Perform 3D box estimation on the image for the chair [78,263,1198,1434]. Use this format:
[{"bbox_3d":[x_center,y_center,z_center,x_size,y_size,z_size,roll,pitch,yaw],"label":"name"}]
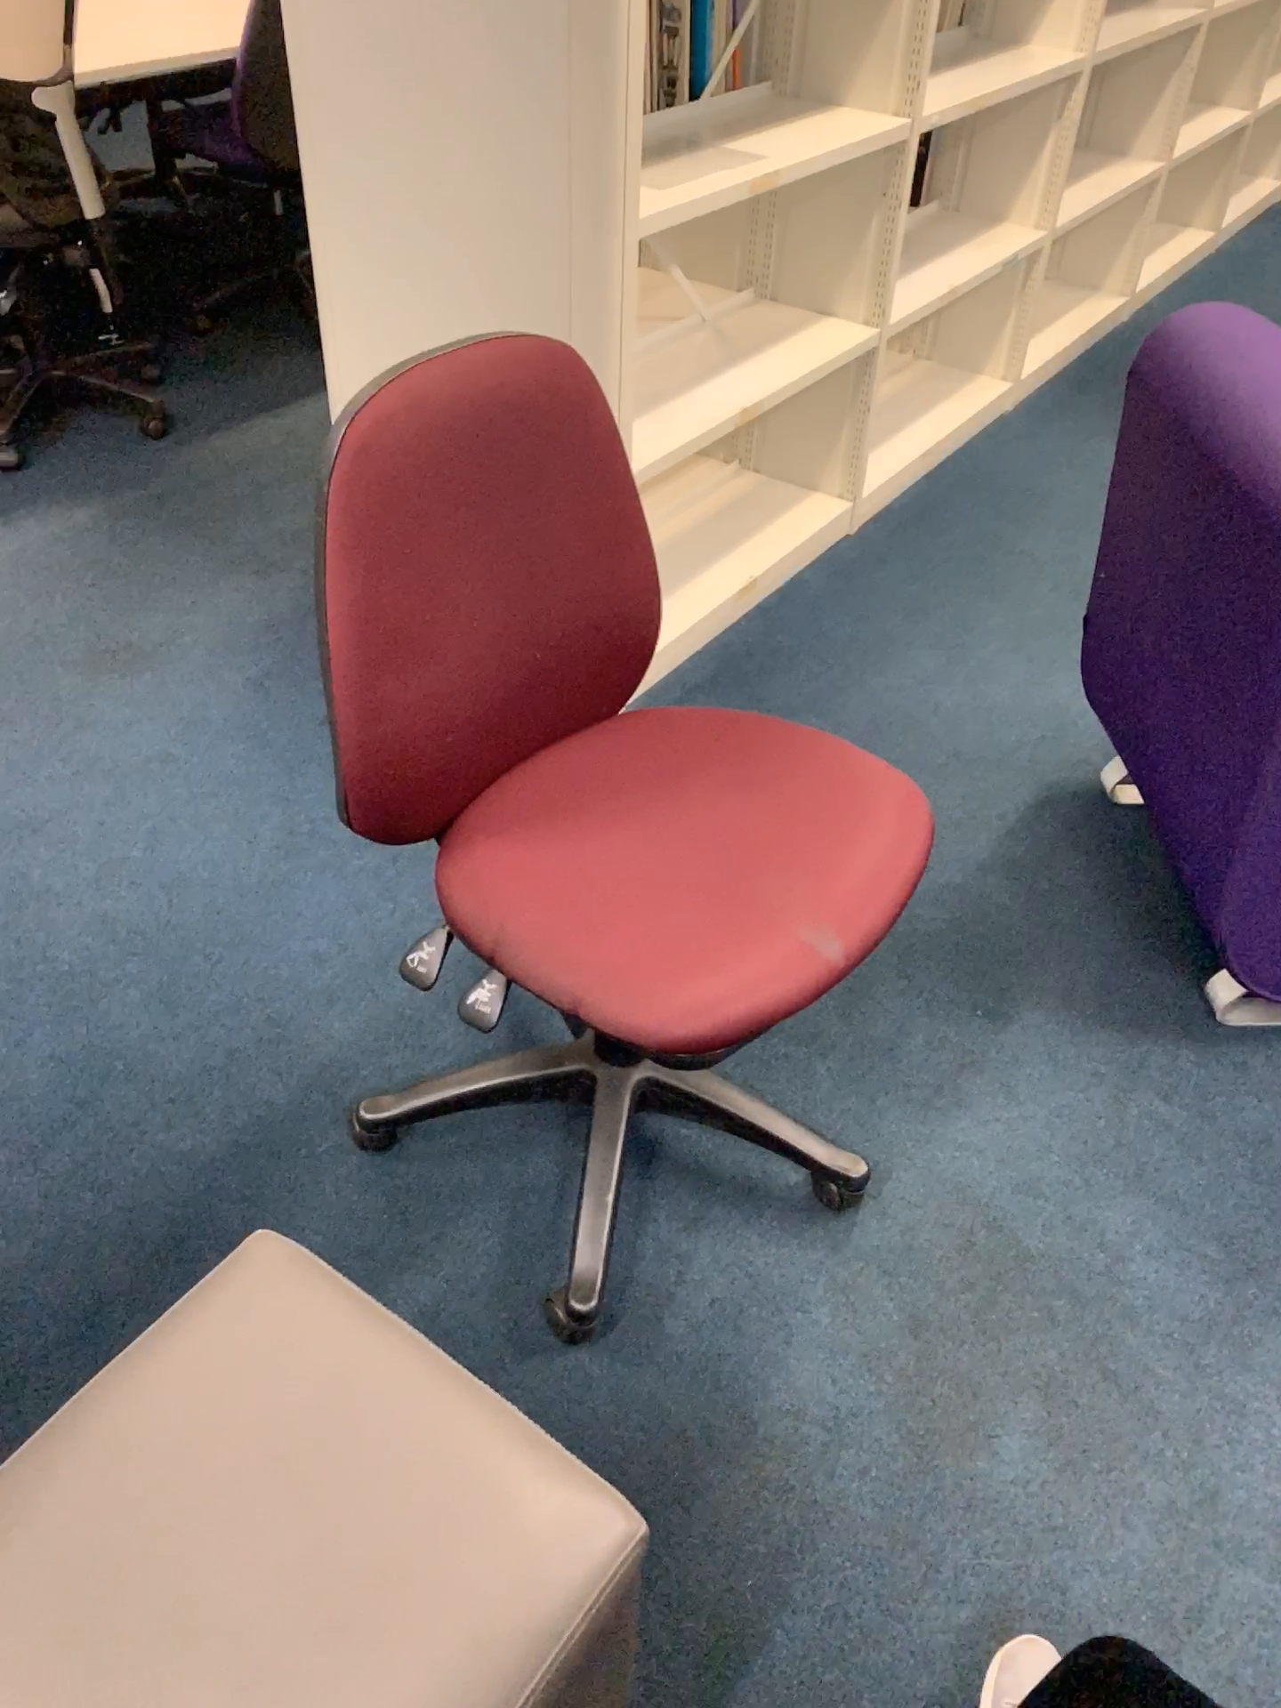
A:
[{"bbox_3d":[-0.004,-0.054,1.353,0.693,0.782,0.654,30,47,28],"label":"chair"}]
